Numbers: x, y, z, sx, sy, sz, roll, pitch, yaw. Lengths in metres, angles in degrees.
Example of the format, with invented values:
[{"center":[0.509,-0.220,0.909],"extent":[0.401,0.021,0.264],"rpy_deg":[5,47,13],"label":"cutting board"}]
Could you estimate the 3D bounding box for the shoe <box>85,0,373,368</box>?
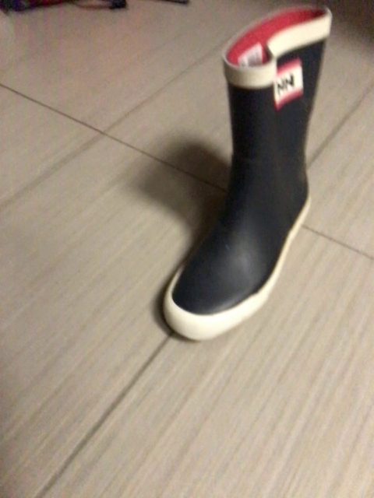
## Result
[{"center":[0.064,-0.069,0.389],"extent":[0.102,0.217,0.280],"rpy_deg":[25,57,24],"label":"shoe"}]
